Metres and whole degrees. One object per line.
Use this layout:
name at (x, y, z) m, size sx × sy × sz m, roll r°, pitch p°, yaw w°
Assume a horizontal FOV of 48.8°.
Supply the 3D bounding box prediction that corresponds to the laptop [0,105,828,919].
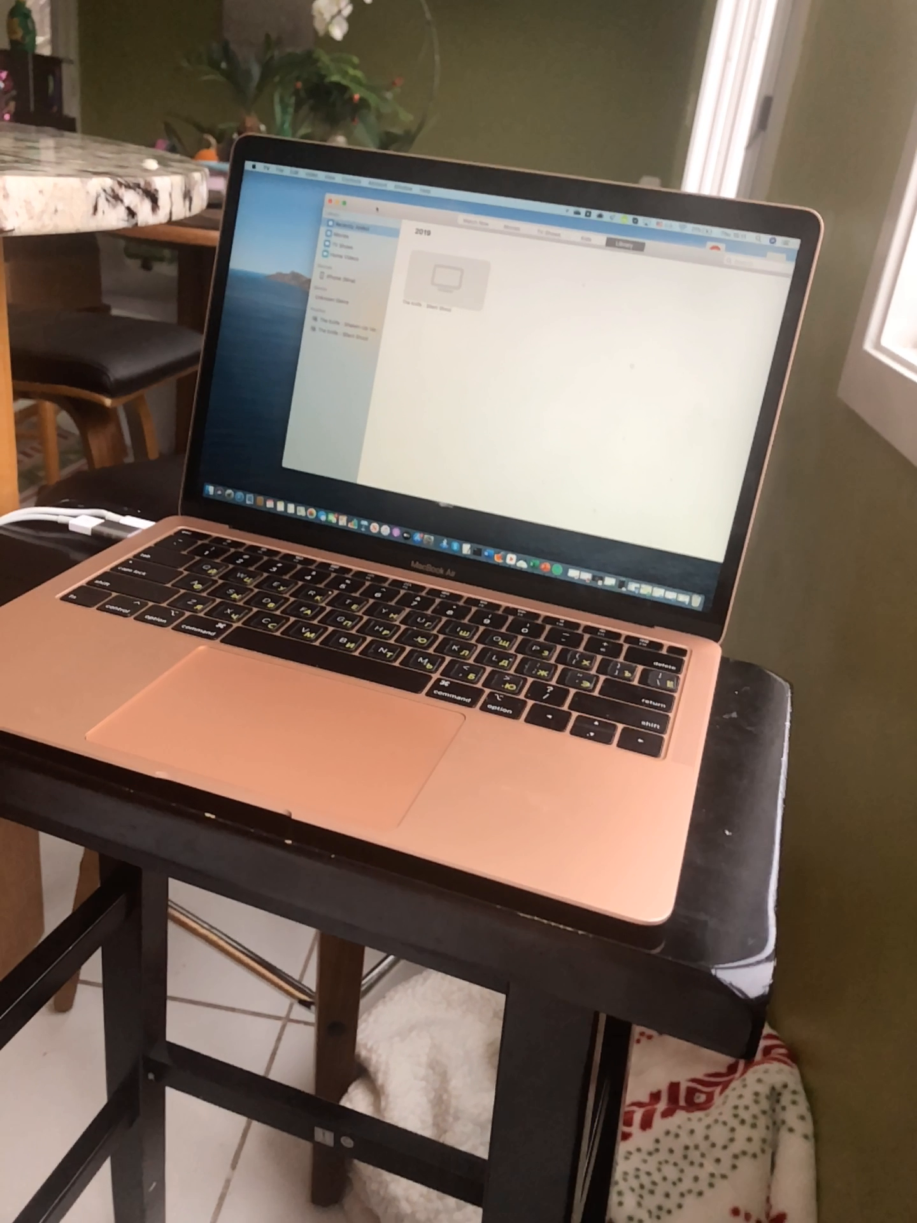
laptop at (-0.026, -0.078, 0.422) m, size 0.297 × 0.196 × 0.265 m, roll 13°, pitch 25°, yaw 14°
